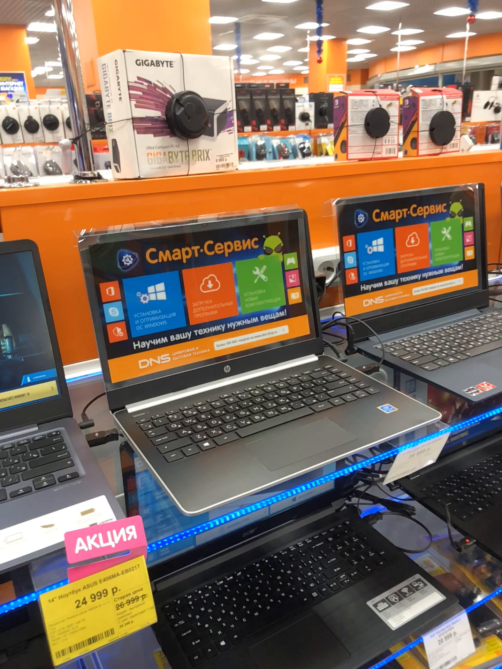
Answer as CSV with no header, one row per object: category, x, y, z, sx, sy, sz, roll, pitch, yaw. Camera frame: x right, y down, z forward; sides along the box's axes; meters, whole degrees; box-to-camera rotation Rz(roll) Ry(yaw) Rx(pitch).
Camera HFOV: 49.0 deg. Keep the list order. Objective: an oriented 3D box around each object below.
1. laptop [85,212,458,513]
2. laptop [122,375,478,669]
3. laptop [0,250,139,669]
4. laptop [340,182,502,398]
laptop,0.013,-0.009,0.631,0.313,0.197,0.267,-13,24,-28
laptop,0.058,0.252,0.728,0.363,0.245,0.251,-13,23,-27
laptop,-0.316,0.058,0.481,0.313,0.199,0.280,-13,22,-29
laptop,0.324,-0.086,0.783,0.276,0.205,0.249,-14,24,-25
